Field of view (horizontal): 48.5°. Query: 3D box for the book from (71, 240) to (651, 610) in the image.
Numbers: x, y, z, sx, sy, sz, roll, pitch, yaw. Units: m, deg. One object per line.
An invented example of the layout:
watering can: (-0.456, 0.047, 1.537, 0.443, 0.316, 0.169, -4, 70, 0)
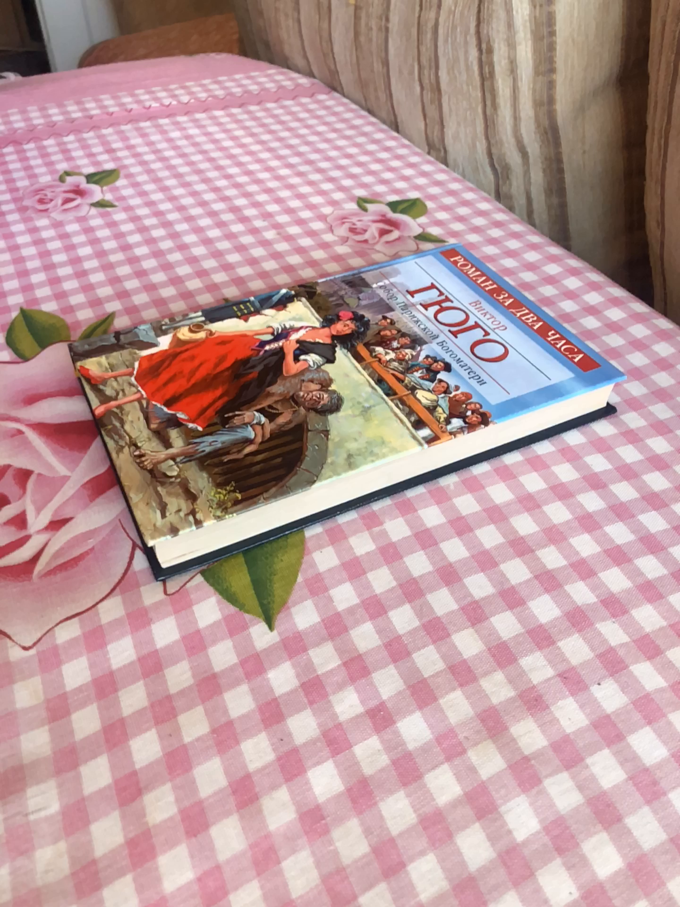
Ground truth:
book: (0.004, -0.029, 0.329, 0.207, 0.027, 0.137, -19, 46, -18)
